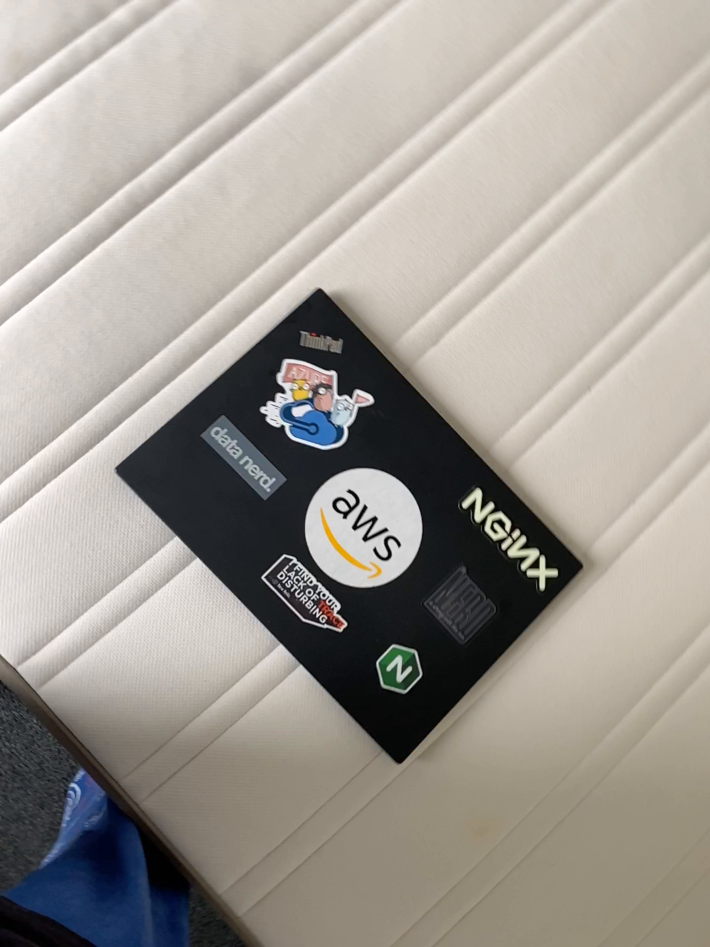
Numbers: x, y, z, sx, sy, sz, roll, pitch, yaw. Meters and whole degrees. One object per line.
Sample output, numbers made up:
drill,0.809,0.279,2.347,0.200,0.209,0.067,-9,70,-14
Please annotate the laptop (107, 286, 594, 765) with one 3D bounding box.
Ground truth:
laptop,0.004,0.035,0.584,0.224,0.014,0.322,-44,90,-12
